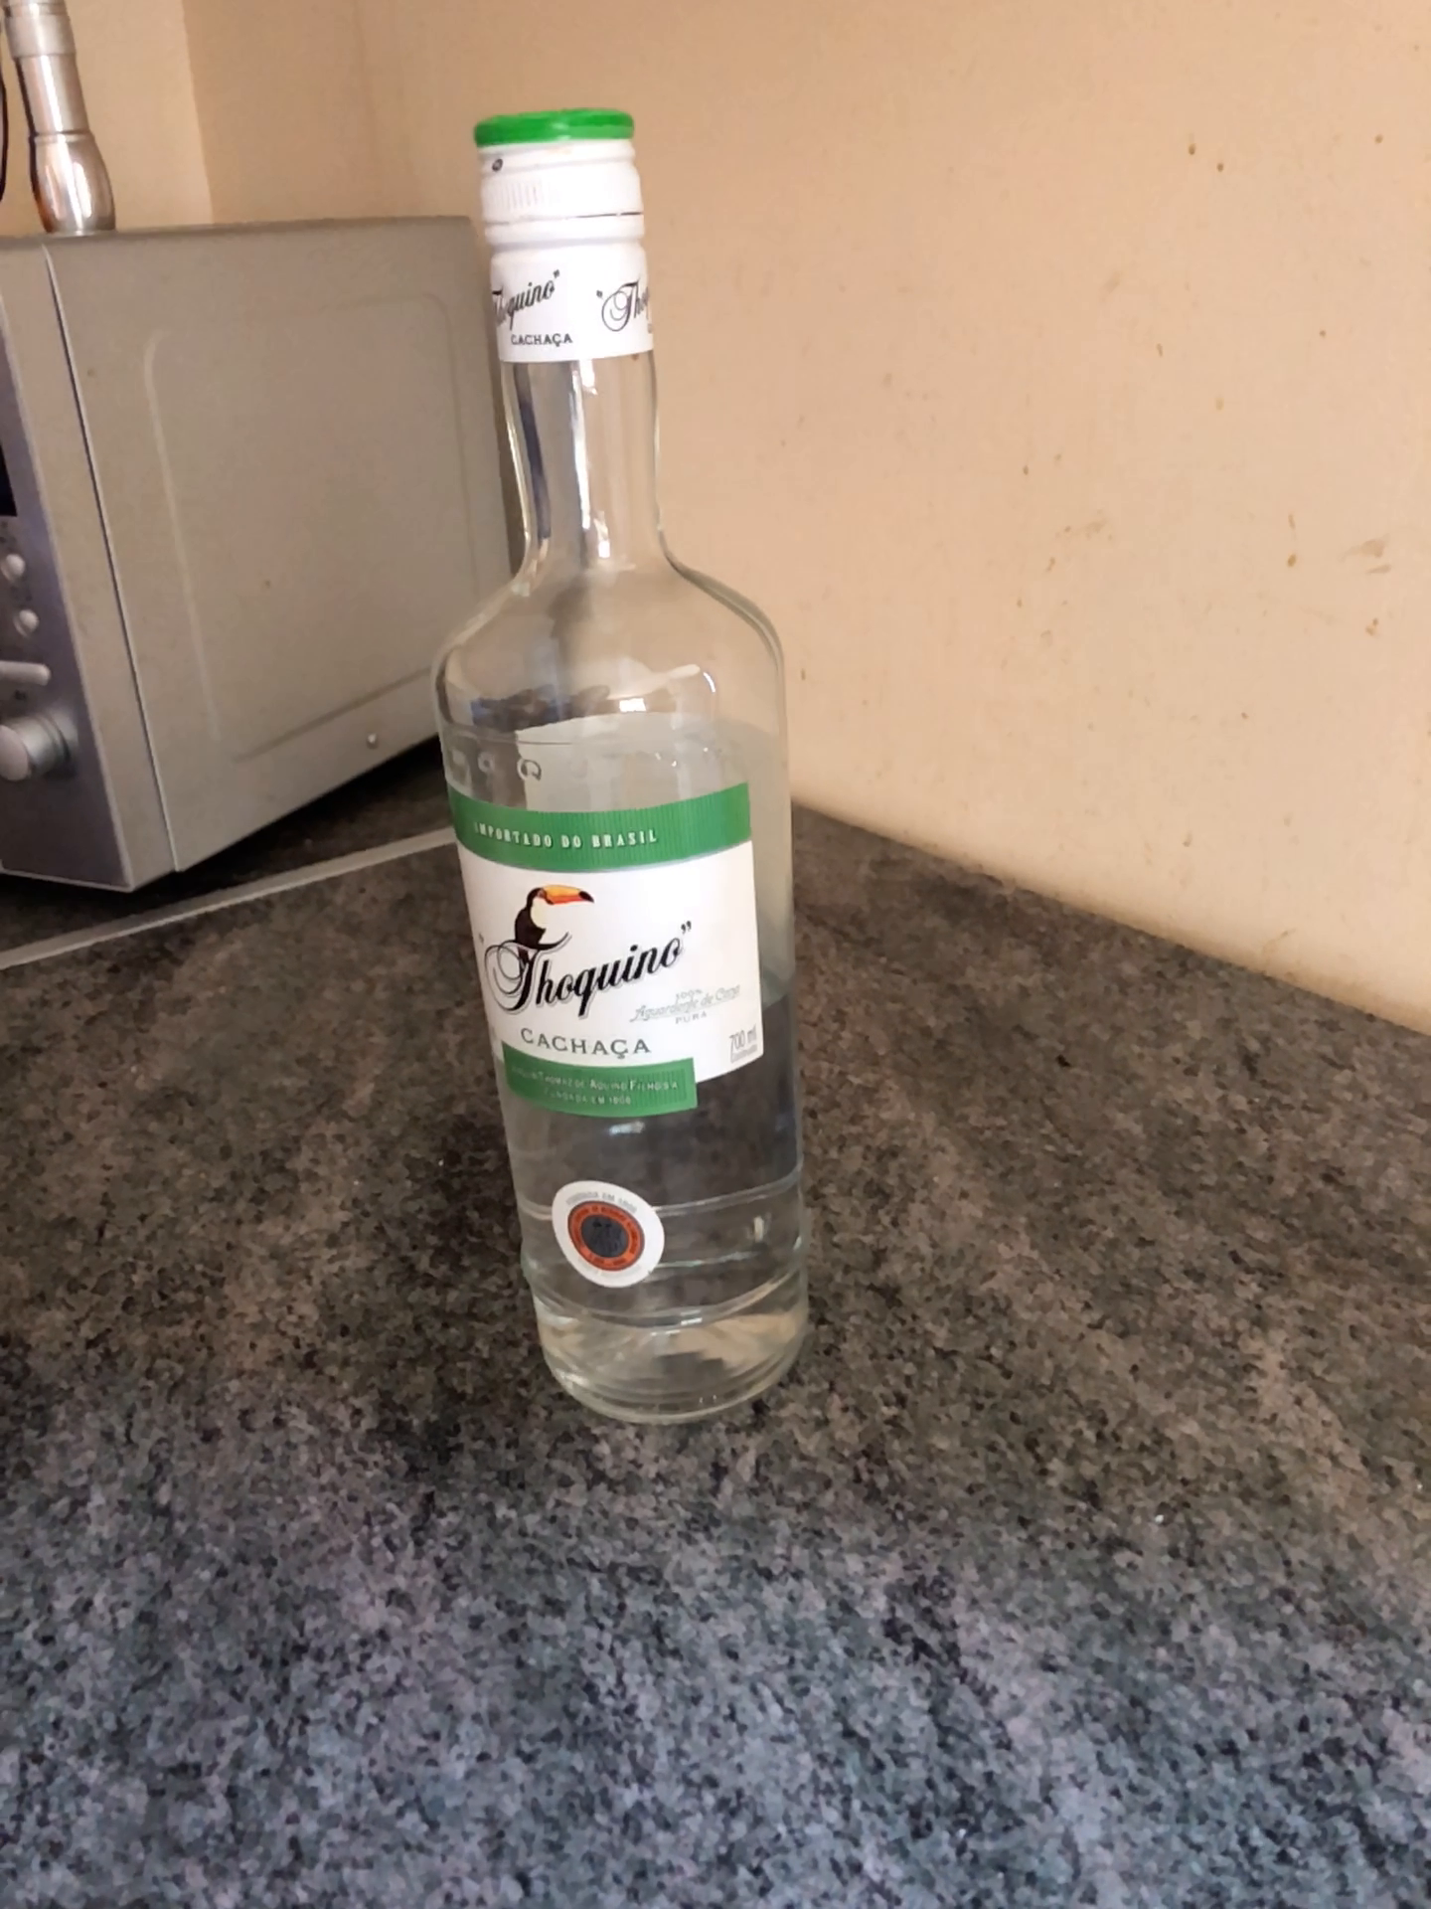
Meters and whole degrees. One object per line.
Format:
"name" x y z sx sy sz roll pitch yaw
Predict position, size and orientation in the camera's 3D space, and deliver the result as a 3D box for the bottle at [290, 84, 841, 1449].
"bottle" -0.021 -0.033 0.358 0.080 0.279 0.080 -2 23 1
